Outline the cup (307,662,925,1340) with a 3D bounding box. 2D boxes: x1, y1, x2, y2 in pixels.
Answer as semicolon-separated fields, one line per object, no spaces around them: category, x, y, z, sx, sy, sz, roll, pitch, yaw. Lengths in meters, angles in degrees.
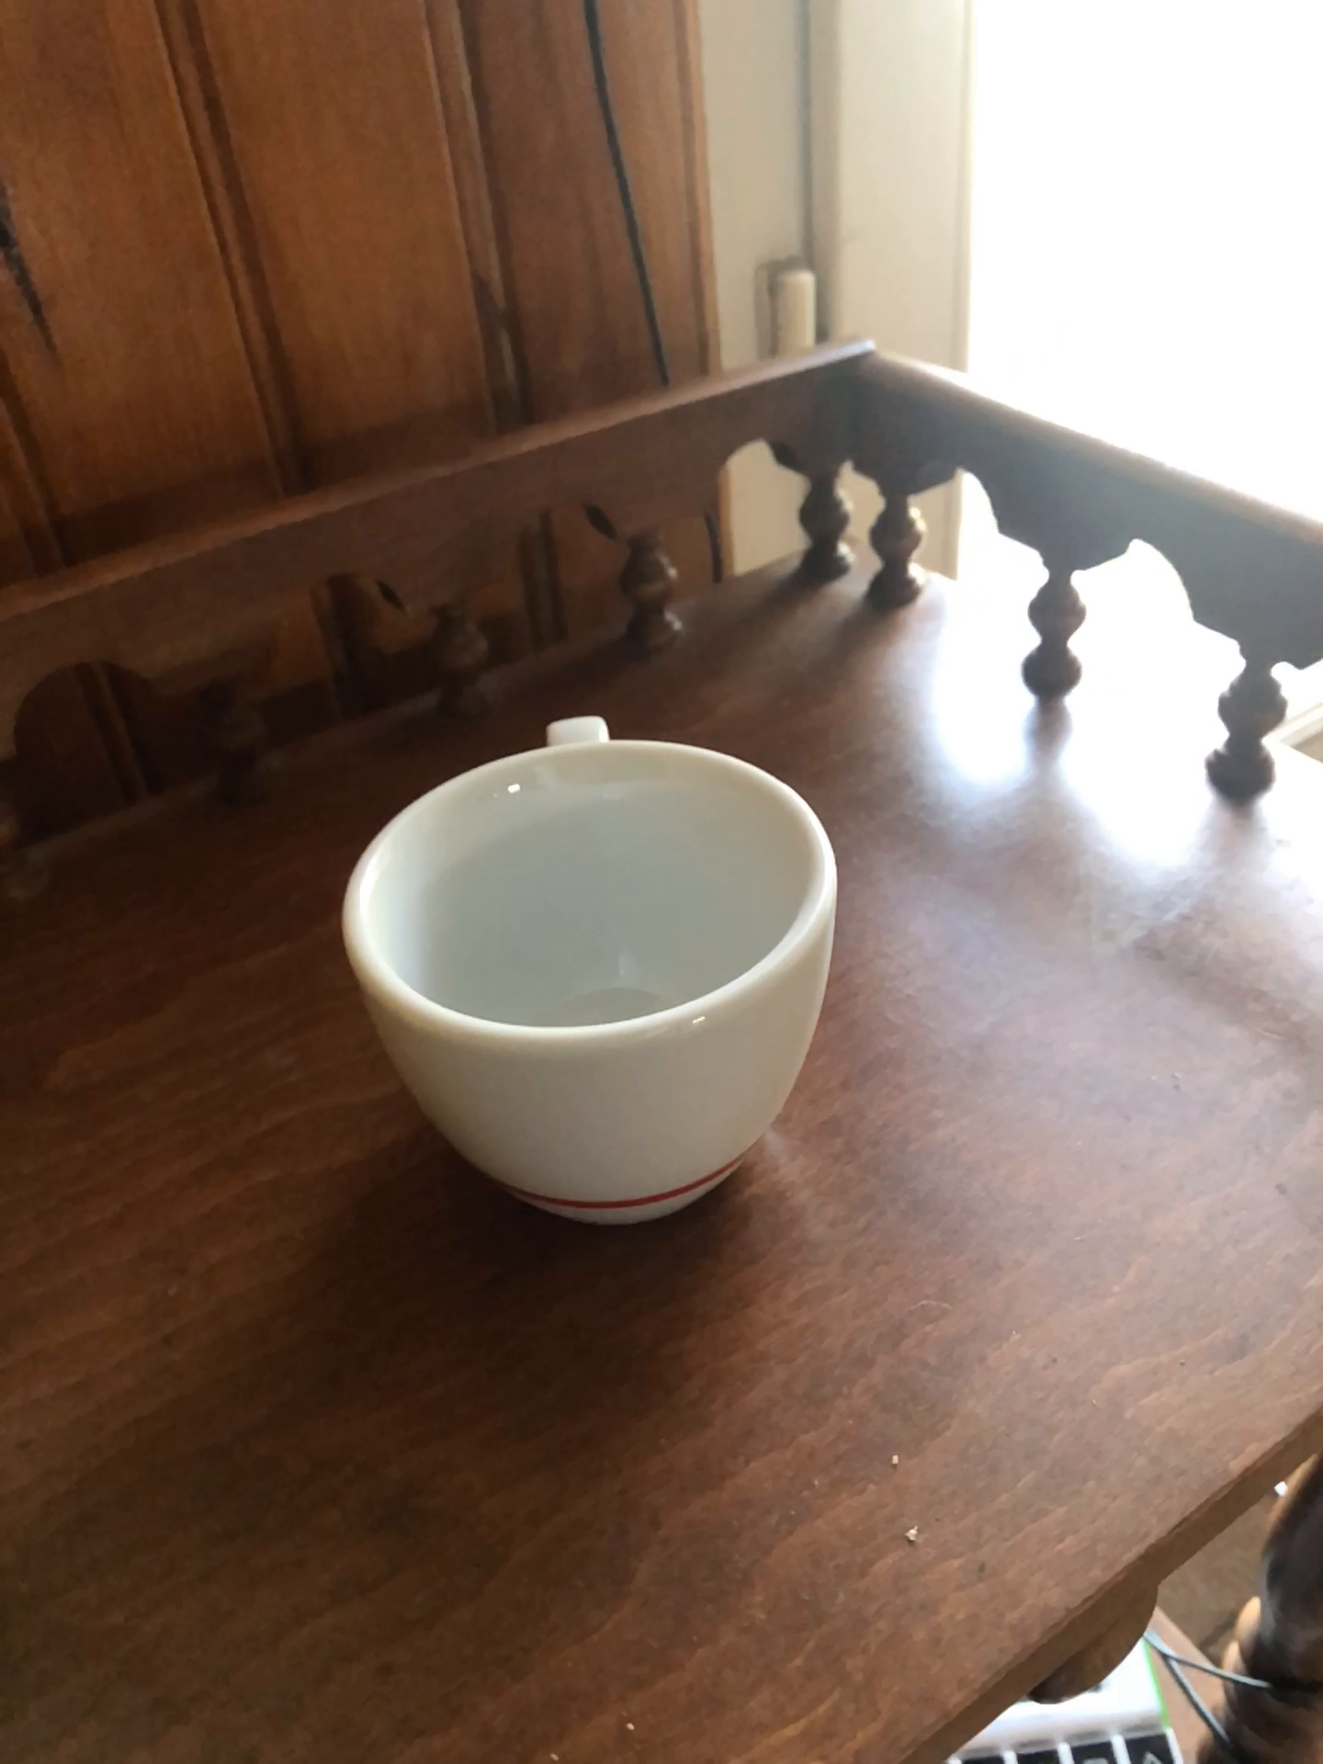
cup;-0.012;0.014;0.271;0.090;0.050;0.111;-9;38;-4
